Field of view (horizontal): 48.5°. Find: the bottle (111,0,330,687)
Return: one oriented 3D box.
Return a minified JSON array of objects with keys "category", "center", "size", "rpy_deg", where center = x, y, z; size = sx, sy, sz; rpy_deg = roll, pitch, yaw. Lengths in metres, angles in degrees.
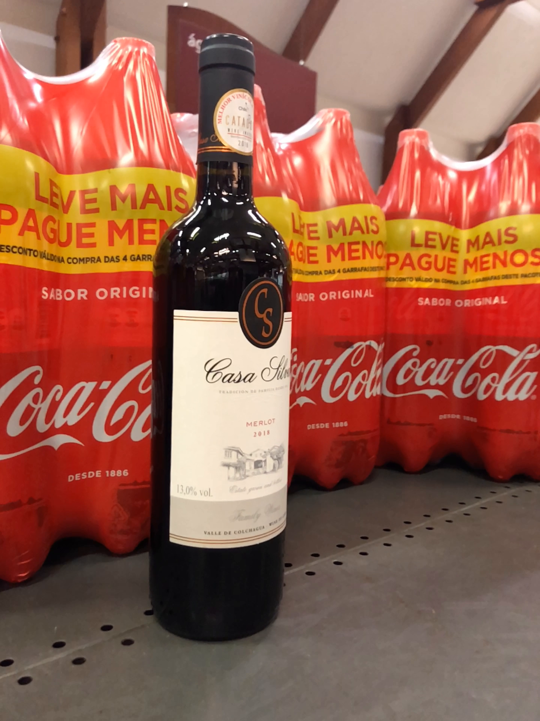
[{"category":"bottle","center":[-0.029,-0.010,0.314],"size":[0.080,0.309,0.070],"rpy_deg":[-2,6,-40]}]
